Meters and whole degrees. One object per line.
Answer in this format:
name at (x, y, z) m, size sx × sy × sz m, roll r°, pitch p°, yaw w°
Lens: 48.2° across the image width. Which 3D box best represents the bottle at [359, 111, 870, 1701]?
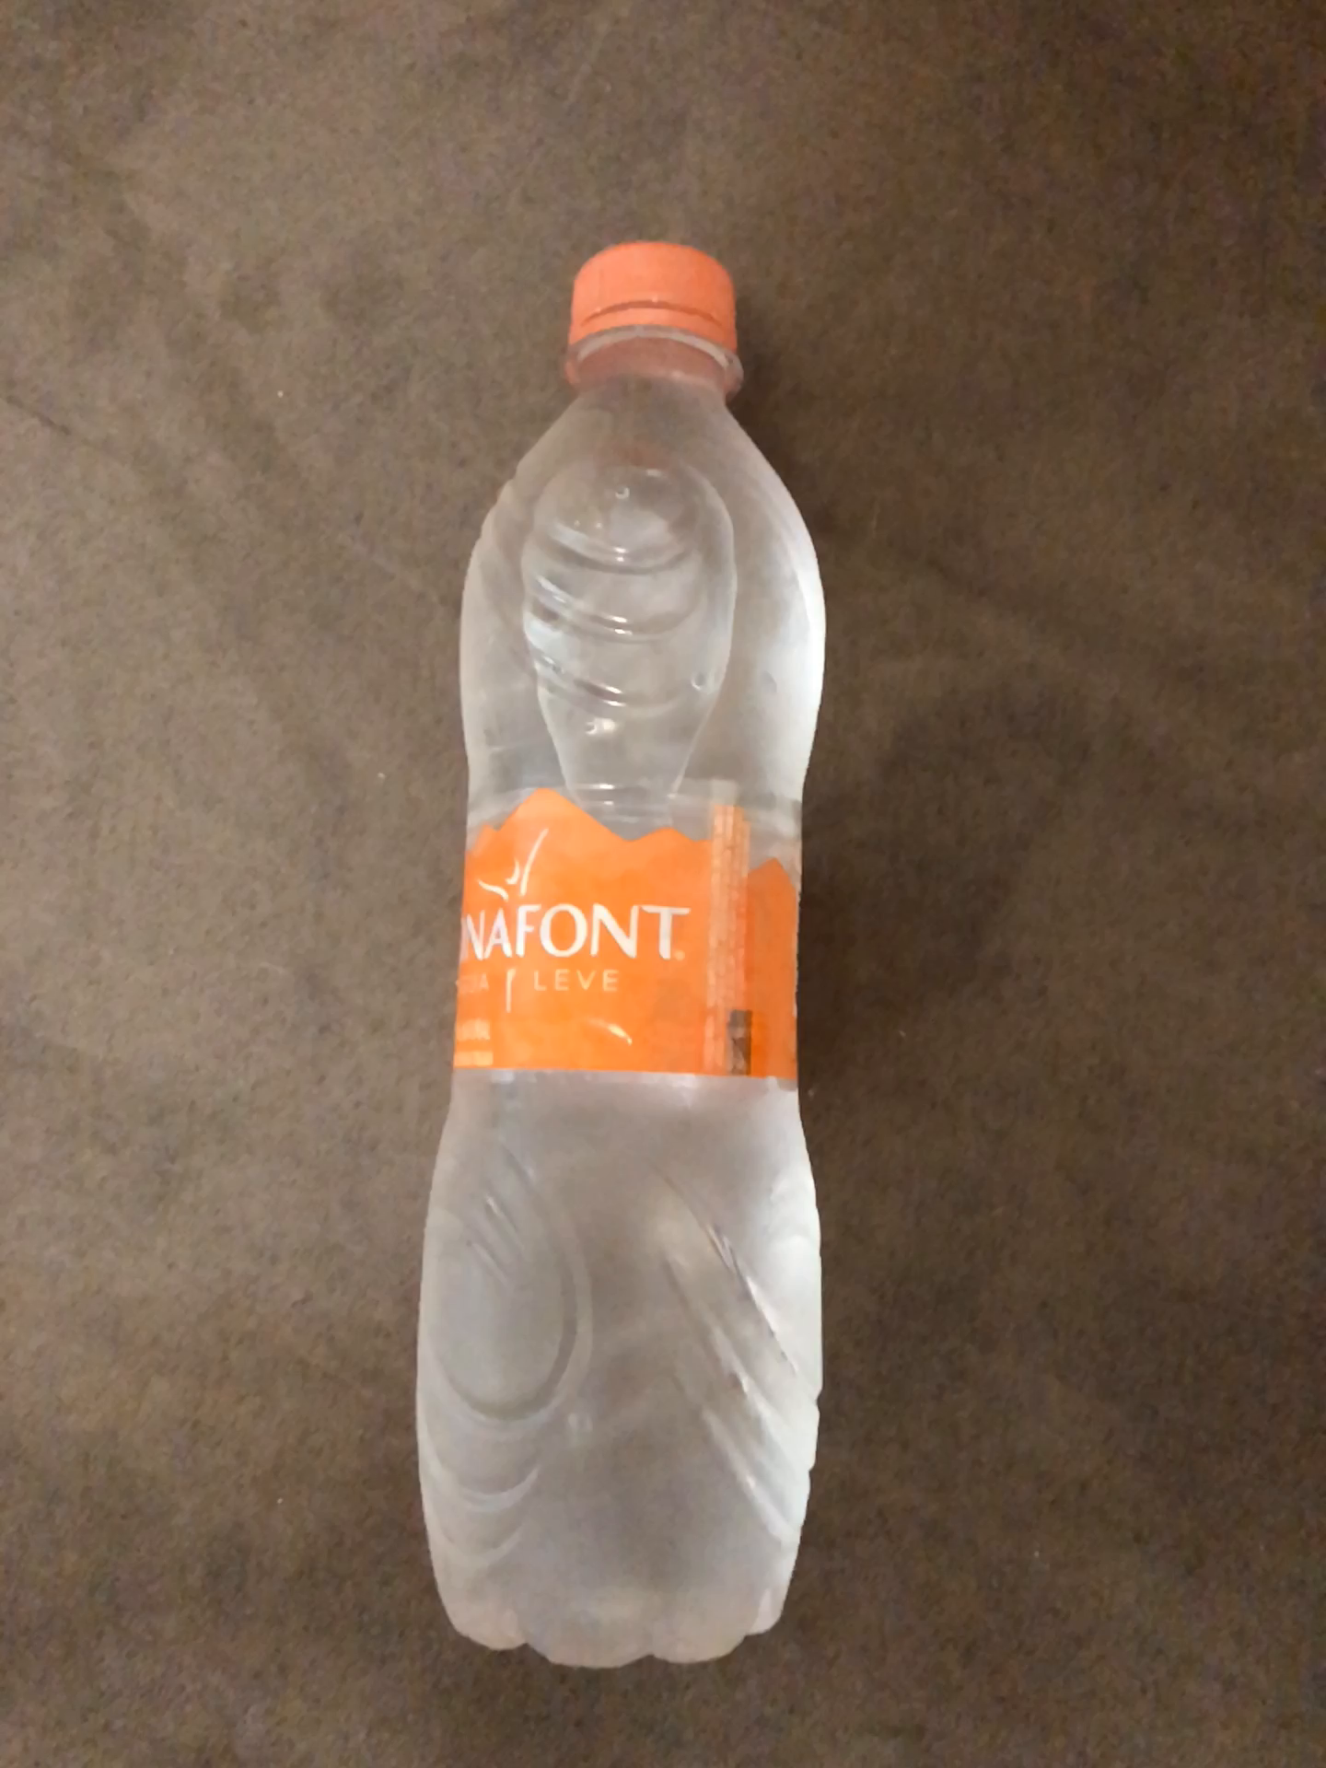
bottle at (-0.004, -0.003, 0.248) m, size 0.070 × 0.050 × 0.240 m, roll 1°, pitch 82°, yaw 2°
